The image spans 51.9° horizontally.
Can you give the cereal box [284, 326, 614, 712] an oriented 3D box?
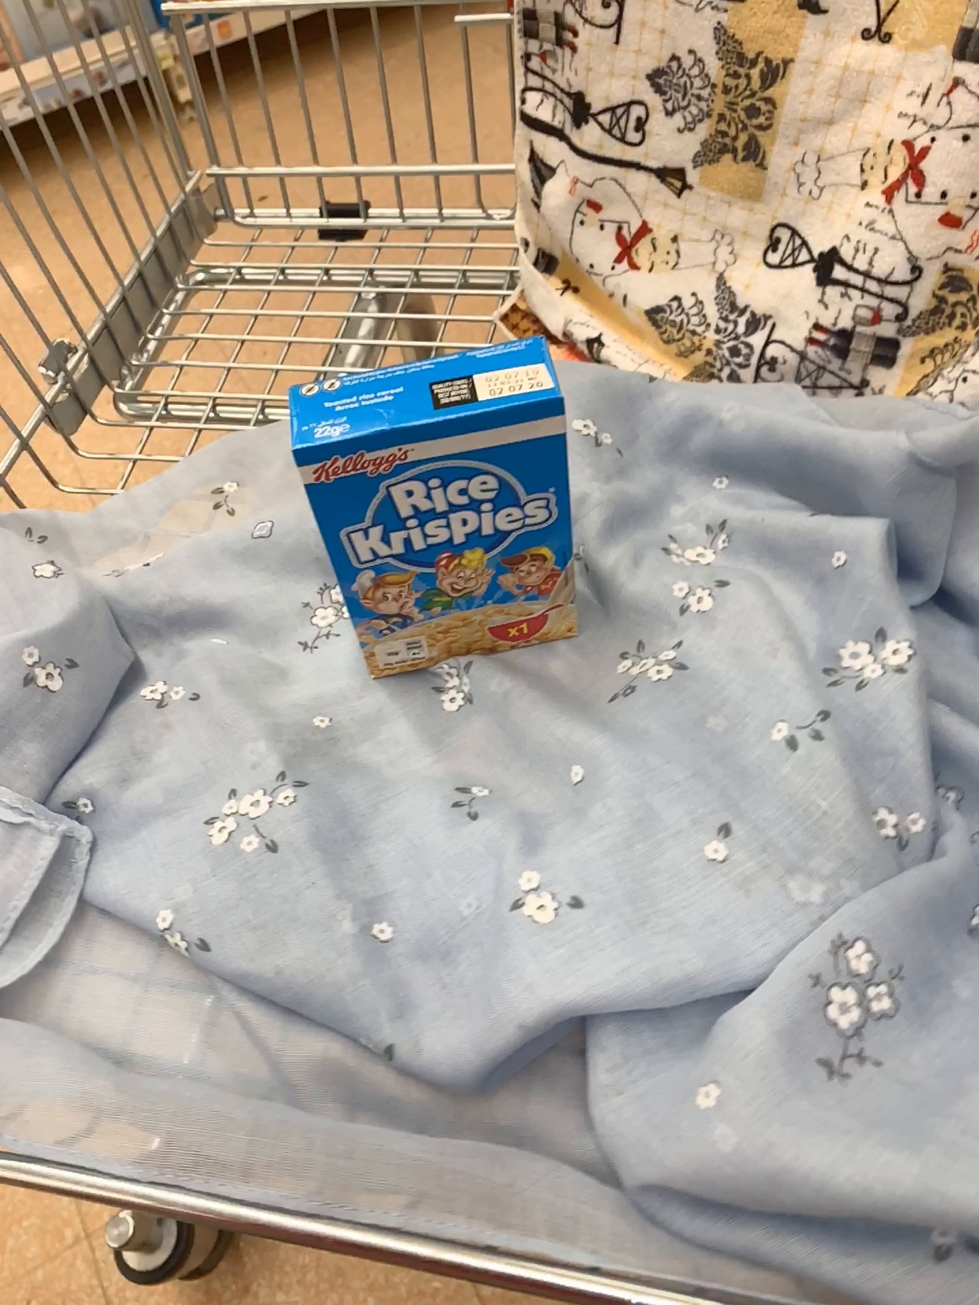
[{"bbox_3d":[-0.008,-0.042,0.378,0.100,0.139,0.040,-13,54,-2],"label":"cereal box"}]
